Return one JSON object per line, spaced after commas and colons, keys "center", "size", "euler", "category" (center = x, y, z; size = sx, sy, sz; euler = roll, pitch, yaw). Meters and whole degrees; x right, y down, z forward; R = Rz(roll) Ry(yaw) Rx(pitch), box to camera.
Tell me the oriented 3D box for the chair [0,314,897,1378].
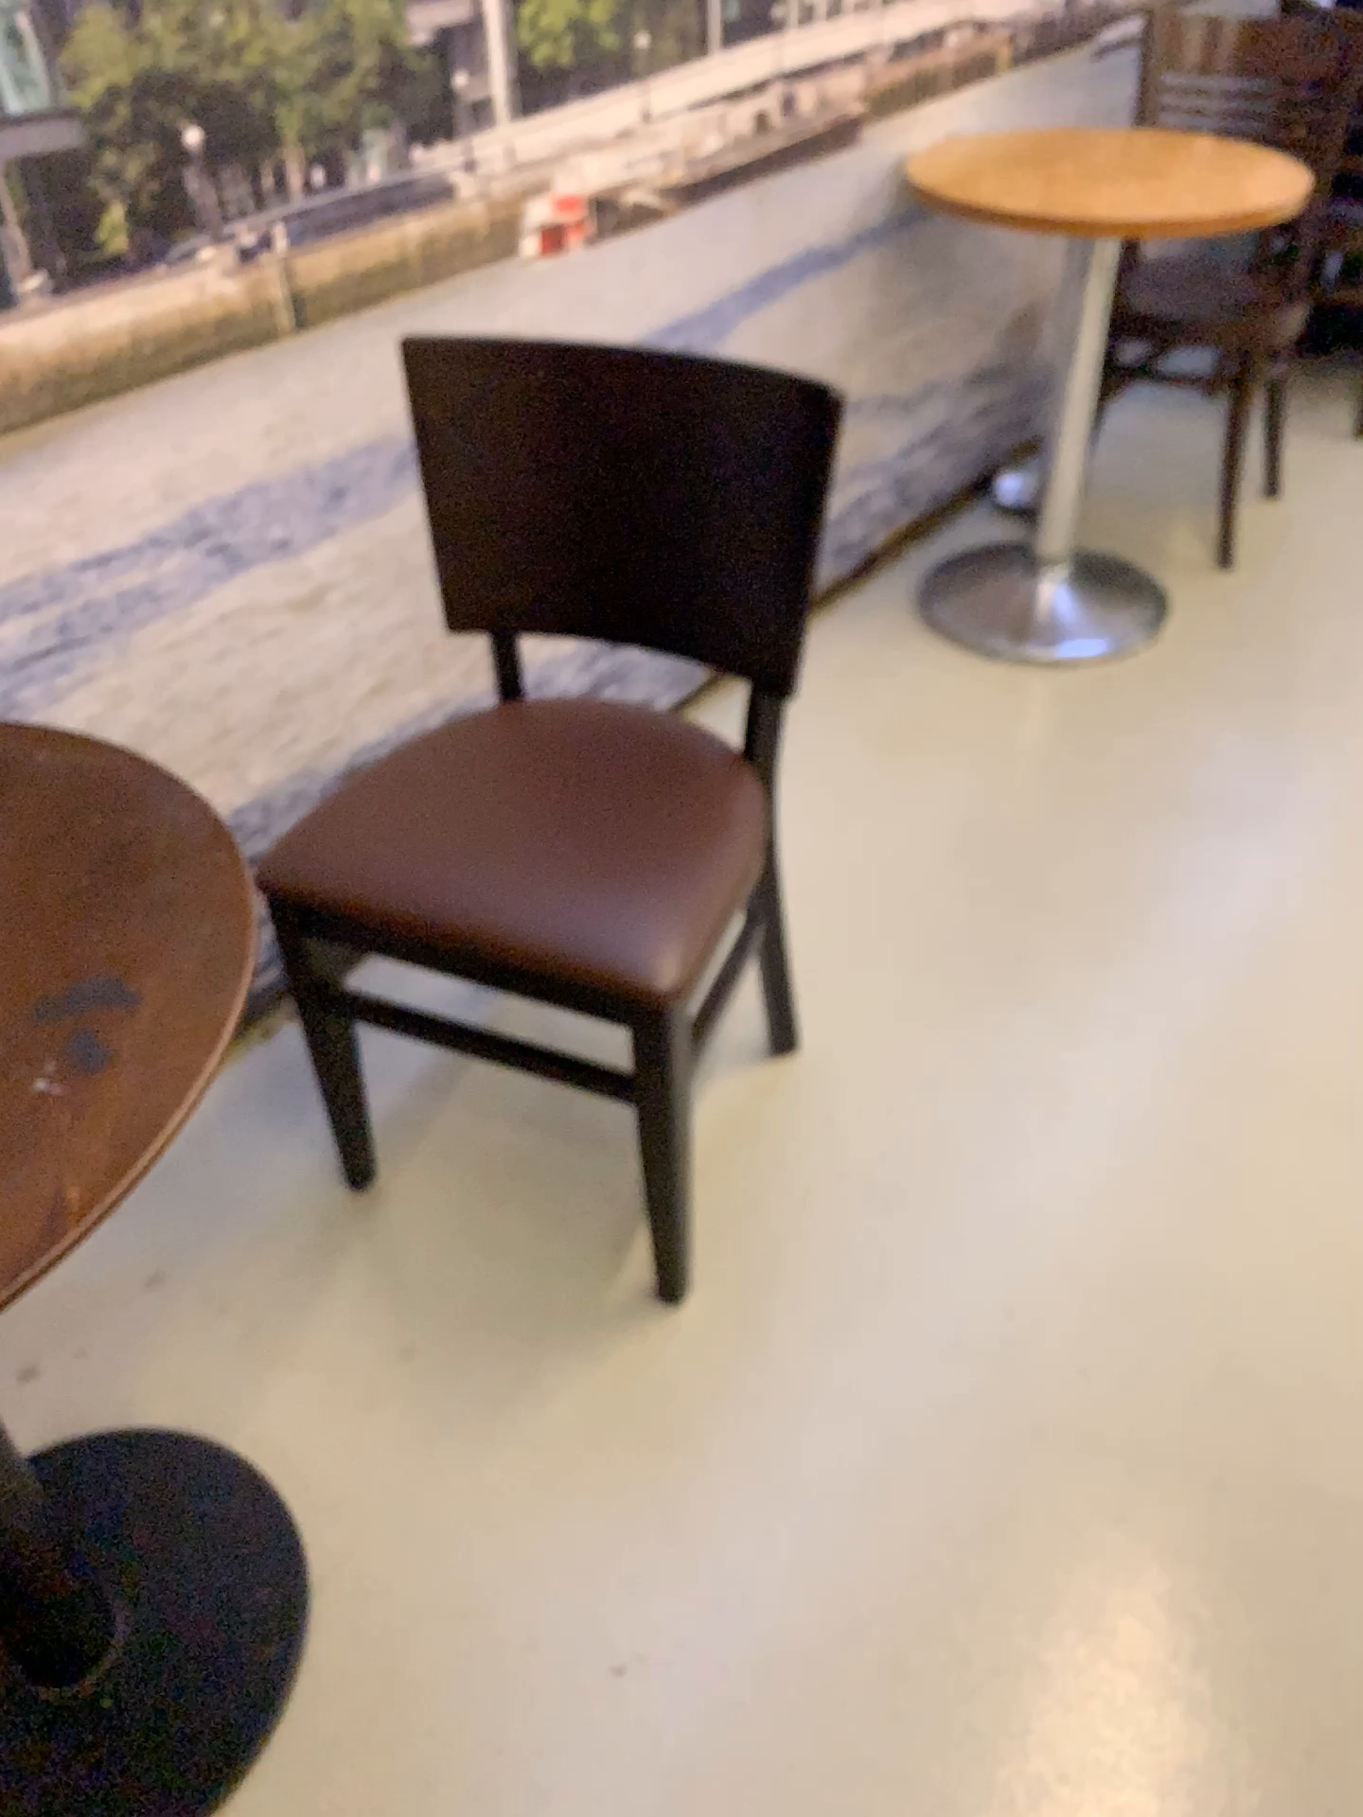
{"center": [-0.162, -0.081, 1.325], "size": [0.559, 0.729, 0.520], "euler": [13, 40, 20], "category": "chair"}
